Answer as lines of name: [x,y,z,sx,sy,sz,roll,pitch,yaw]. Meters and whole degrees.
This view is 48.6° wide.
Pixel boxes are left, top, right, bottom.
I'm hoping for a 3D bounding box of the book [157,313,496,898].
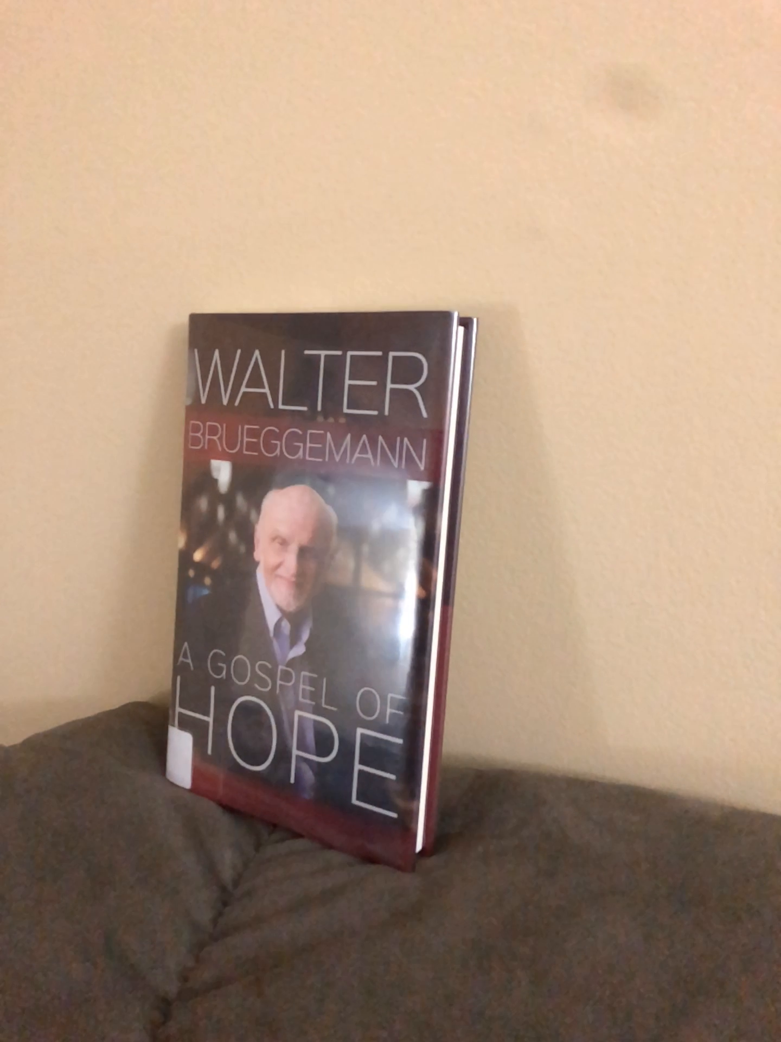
book: [-0.034,0.025,0.359,0.141,0.210,0.027,7,3,35]
